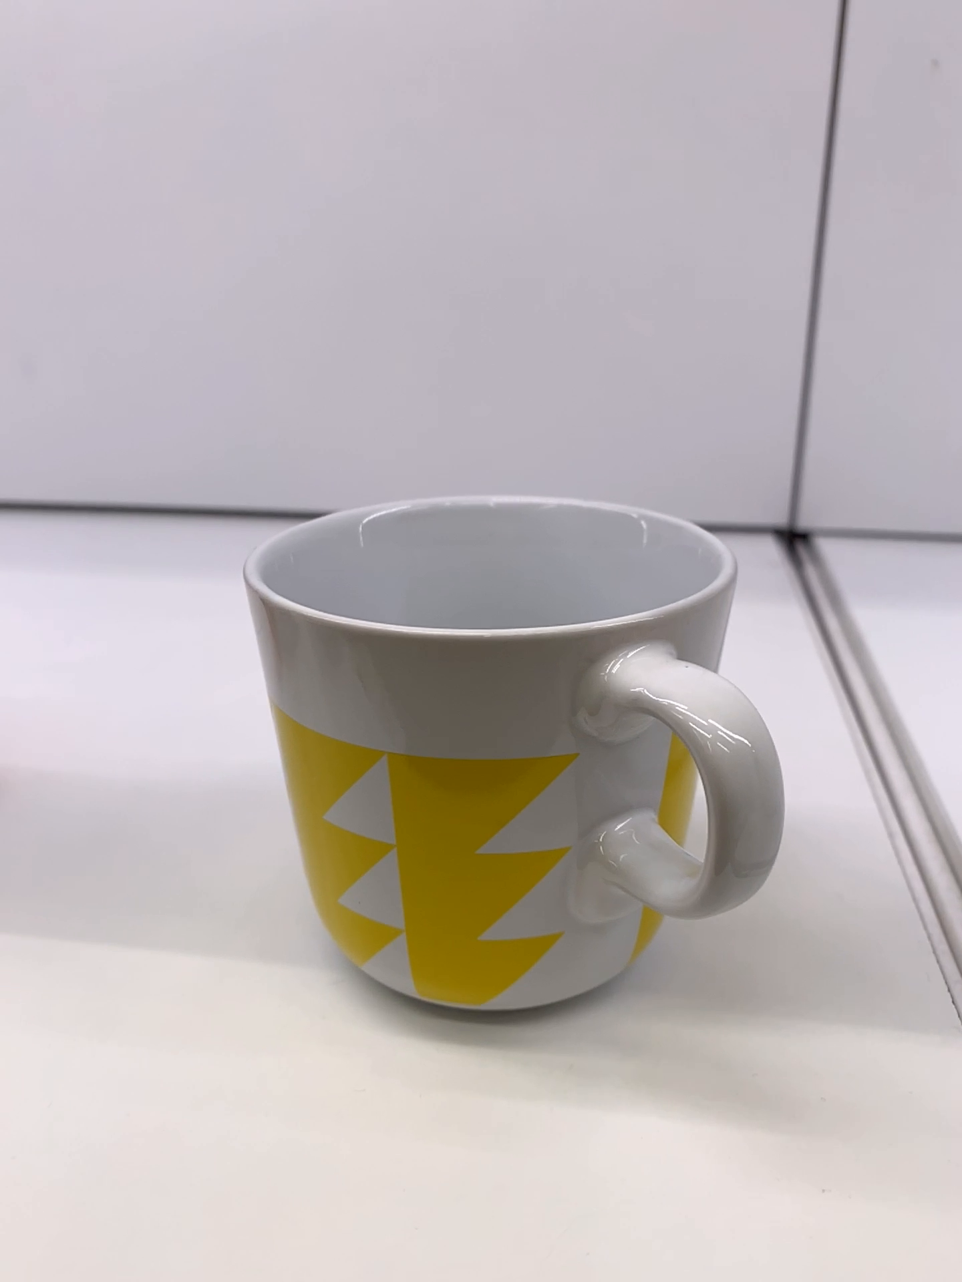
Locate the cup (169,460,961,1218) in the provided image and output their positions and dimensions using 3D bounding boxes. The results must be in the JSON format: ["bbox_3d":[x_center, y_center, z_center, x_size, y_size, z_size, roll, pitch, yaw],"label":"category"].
[{"bbox_3d":[0.007,0.014,0.173,0.084,0.065,0.107,-12,23,-29],"label":"cup"}]
